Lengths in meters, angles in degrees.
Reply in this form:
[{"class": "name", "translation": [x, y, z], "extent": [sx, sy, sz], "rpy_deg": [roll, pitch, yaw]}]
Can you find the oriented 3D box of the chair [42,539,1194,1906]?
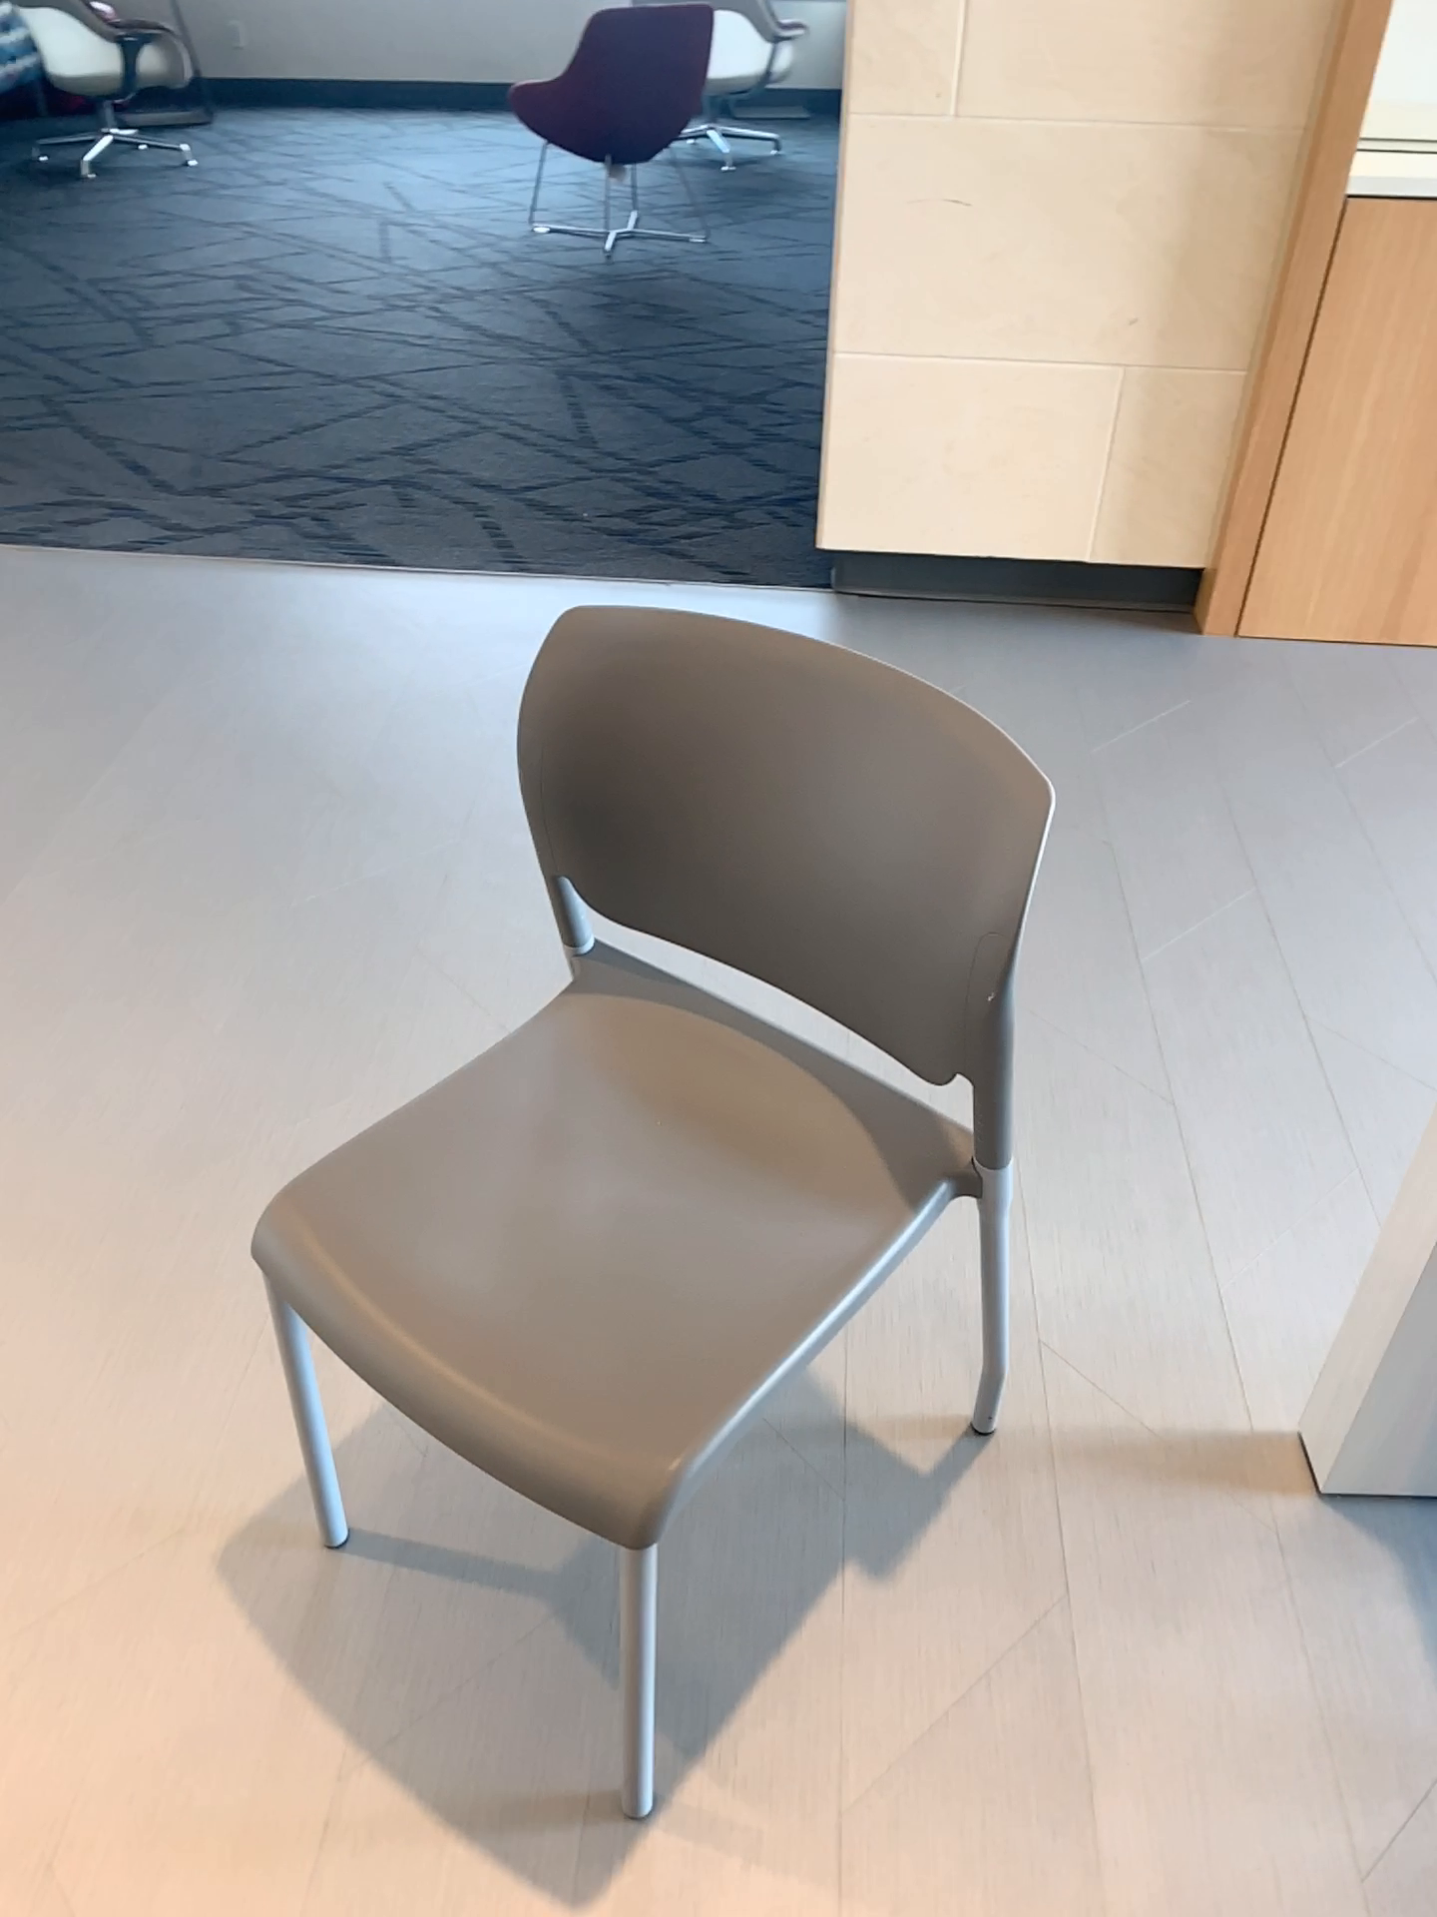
[{"class": "chair", "translation": [-0.046, 0.185, 1.193], "extent": [0.502, 0.783, 0.574], "rpy_deg": [25, 43, 28]}]
